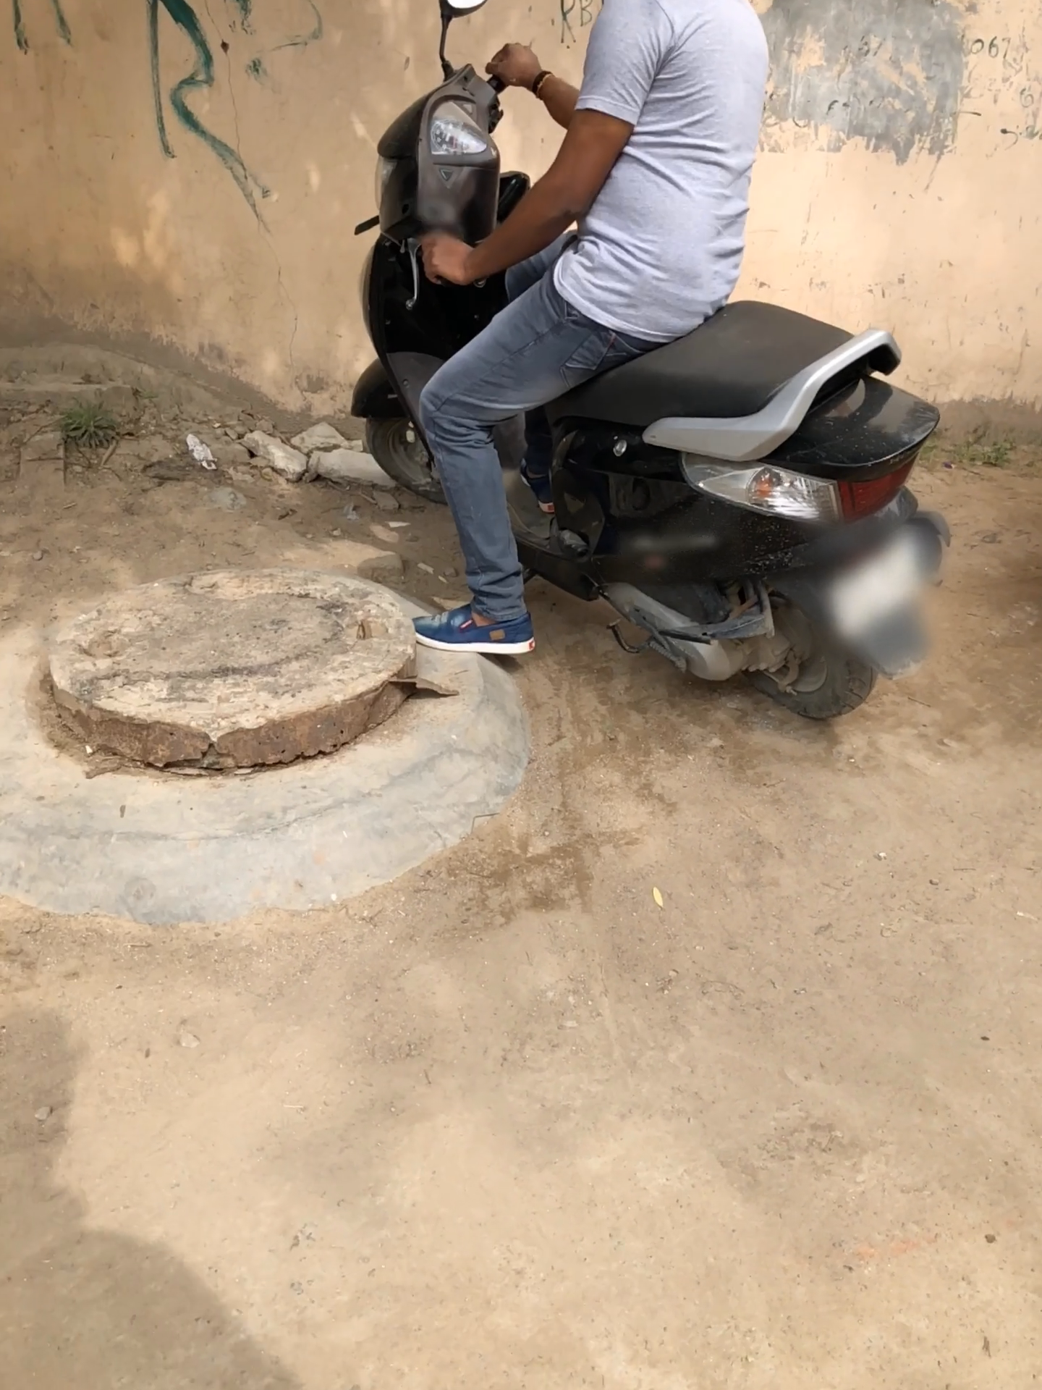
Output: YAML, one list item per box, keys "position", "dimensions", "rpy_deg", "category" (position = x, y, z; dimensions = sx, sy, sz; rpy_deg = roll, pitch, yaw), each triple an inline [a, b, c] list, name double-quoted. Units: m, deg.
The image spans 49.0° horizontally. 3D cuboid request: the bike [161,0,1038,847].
- position: [0.012, -0.710, 2.442]
  dimensions: [0.655, 1.228, 1.653]
  rpy_deg: [-22, 38, -38]
  category: "bike"
